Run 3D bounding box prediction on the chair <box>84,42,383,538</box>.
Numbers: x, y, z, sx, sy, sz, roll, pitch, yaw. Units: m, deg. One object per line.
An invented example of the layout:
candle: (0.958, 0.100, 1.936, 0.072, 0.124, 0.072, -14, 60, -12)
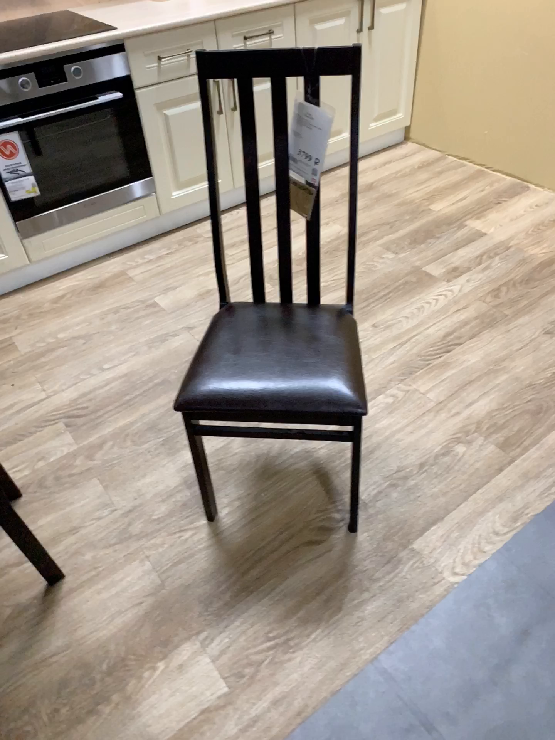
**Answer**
chair: (-0.008, -0.121, 1.289, 0.420, 0.985, 0.493, 2, 42, 7)
